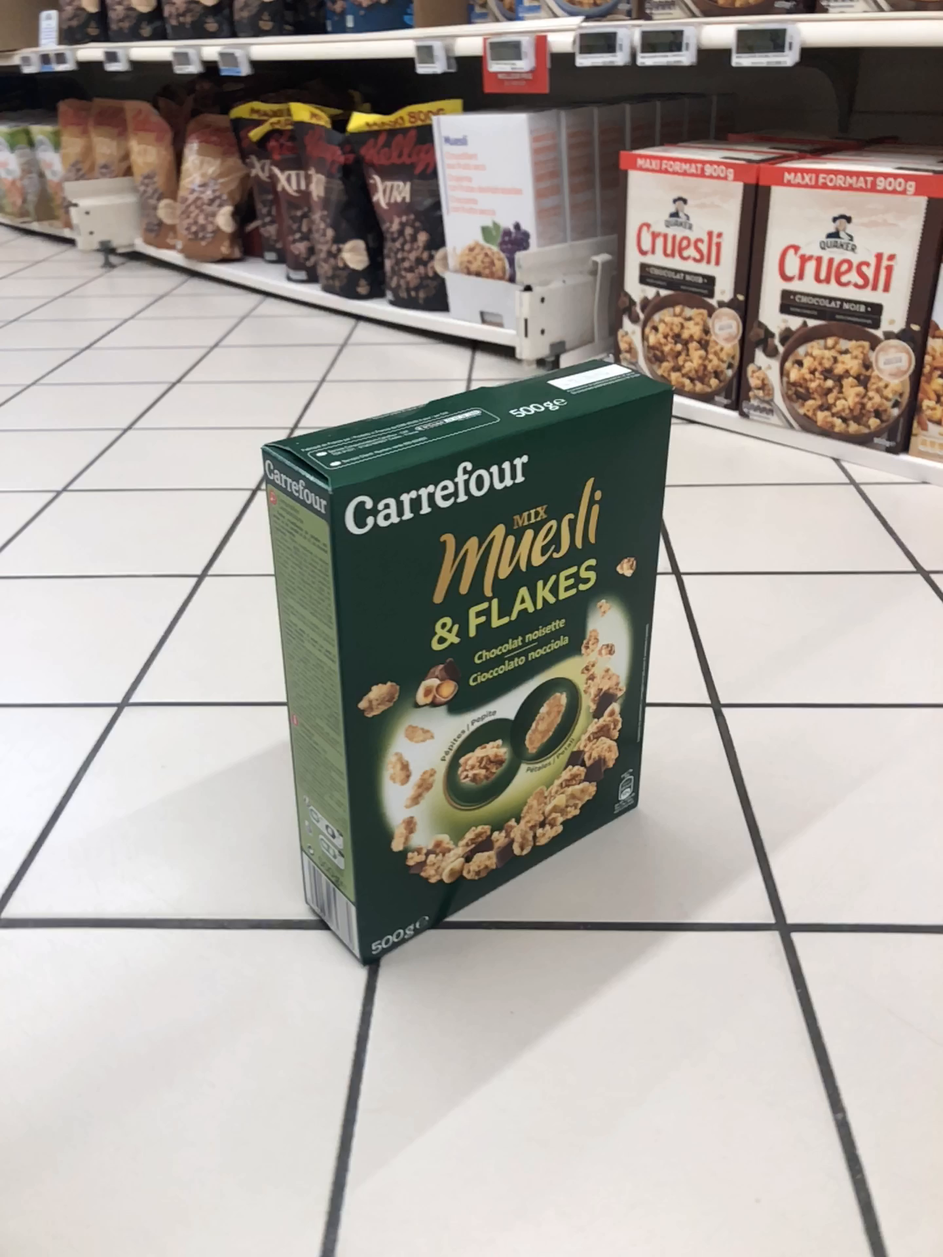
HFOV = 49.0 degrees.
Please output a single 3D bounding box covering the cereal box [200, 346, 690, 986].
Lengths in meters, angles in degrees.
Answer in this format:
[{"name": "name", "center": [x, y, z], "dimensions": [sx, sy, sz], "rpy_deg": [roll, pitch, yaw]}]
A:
[{"name": "cereal box", "center": [-0.005, 0.012, 0.503], "dimensions": [0.201, 0.248, 0.080], "rpy_deg": [-21, 36, -32]}]
